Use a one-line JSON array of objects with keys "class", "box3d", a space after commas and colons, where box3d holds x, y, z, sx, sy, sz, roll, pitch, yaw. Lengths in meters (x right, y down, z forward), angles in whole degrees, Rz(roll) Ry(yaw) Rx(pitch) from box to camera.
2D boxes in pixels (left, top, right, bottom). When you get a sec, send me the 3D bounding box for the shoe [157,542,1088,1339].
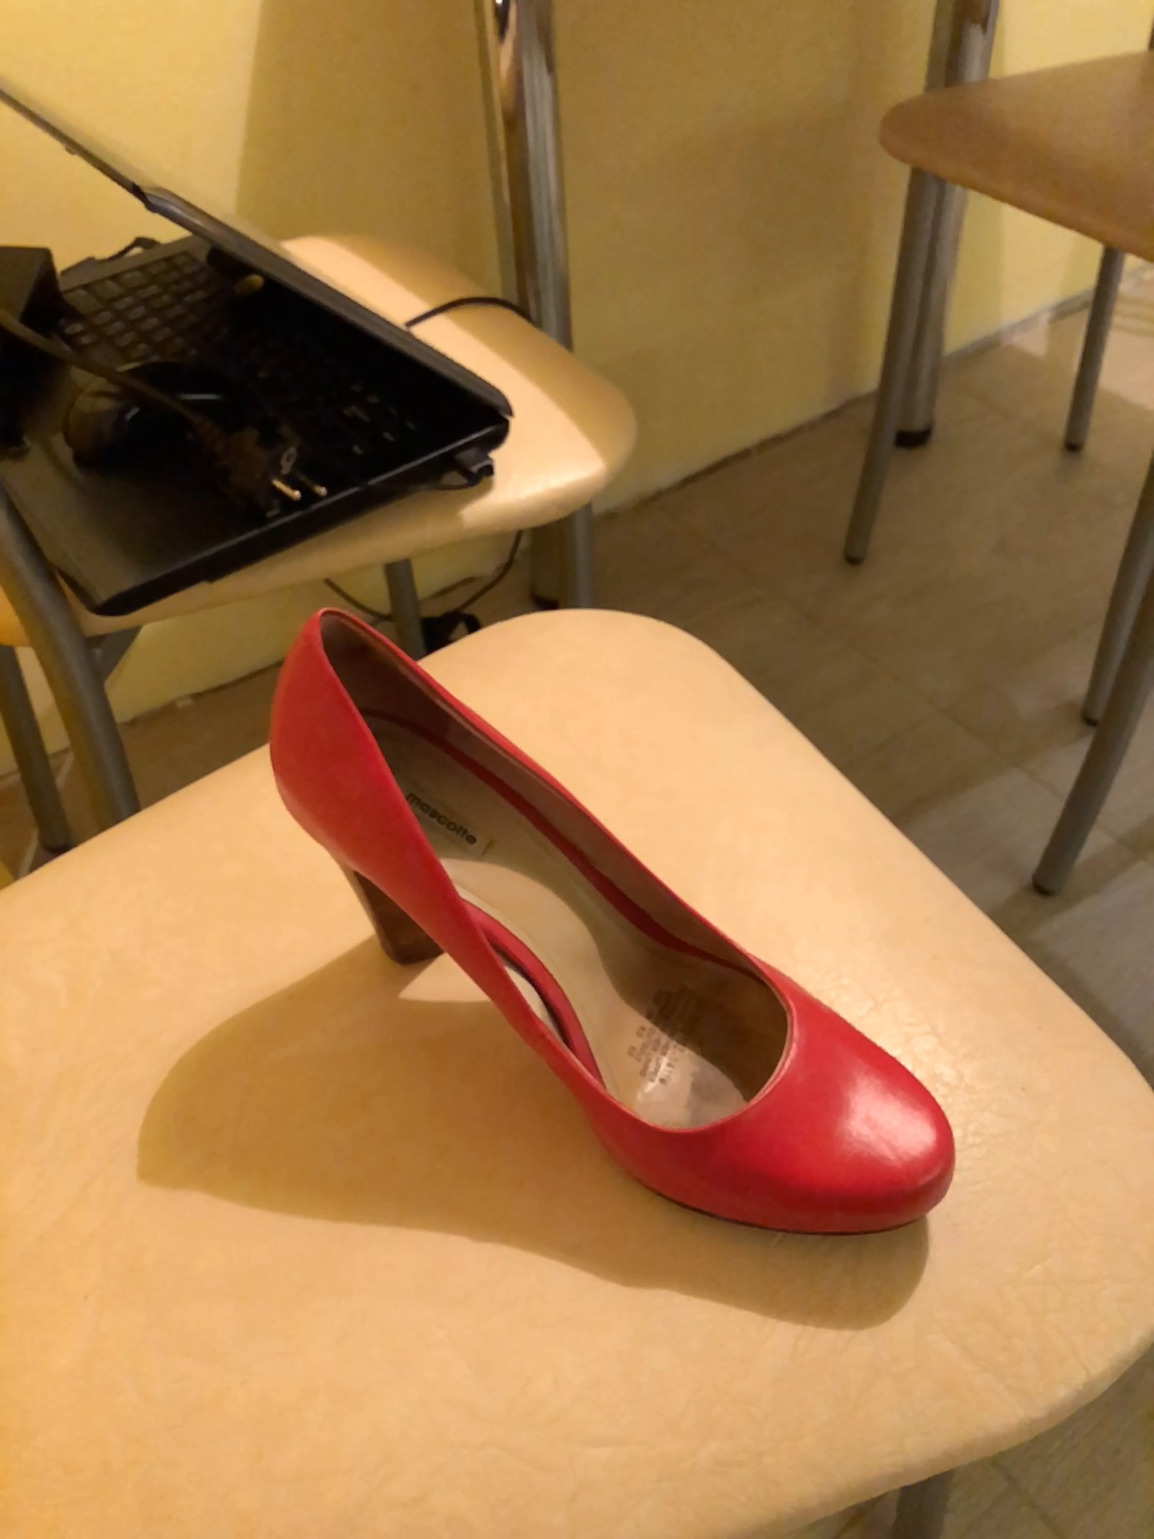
[{"class": "shoe", "box3d": [0.005, 0.041, 0.369, 0.230, 0.129, 0.080, 24, 51, 25]}]
